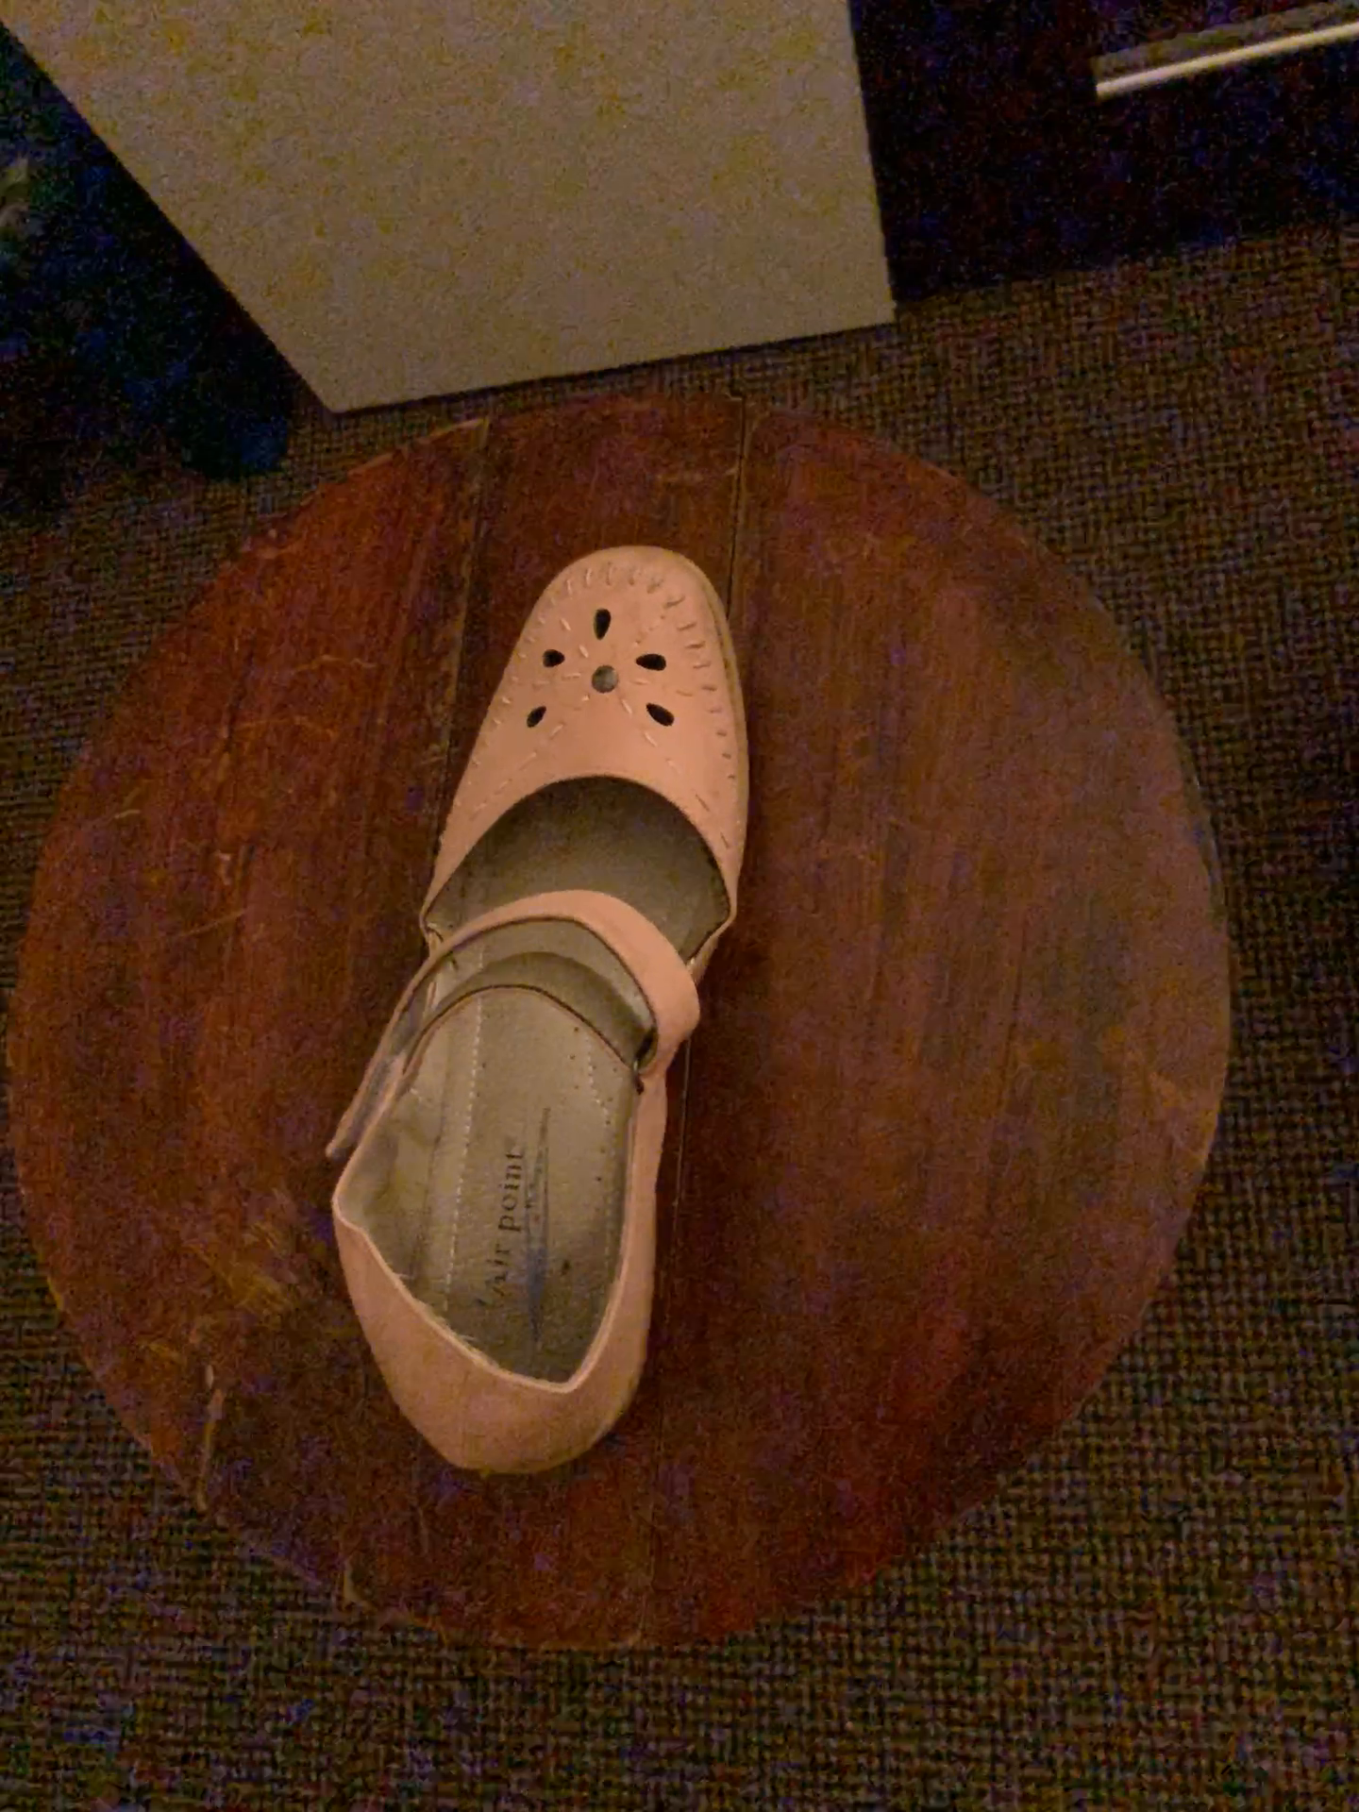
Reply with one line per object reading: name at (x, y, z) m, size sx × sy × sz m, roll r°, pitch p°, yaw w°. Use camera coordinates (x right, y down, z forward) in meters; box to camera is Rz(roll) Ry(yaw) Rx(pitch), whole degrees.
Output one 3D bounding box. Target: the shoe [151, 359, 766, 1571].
shoe at (-0.044, 0.010, 0.362) m, size 0.101 × 0.092 × 0.272 m, roll 0°, pitch 76°, yaw 15°
